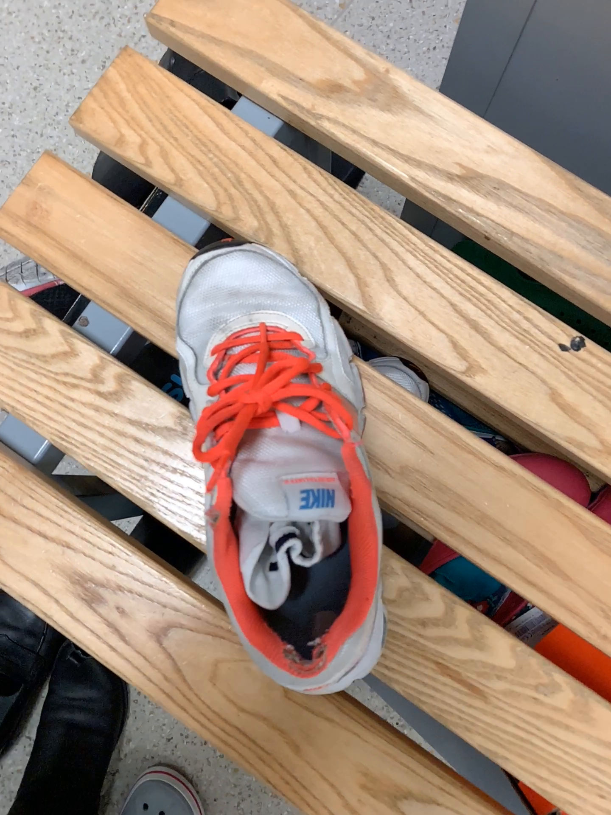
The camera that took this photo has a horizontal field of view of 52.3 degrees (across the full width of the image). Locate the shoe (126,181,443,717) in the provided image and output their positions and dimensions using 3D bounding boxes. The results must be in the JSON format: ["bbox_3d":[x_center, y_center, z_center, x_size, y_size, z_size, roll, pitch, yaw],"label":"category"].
[{"bbox_3d":[-0.013,0.018,0.339,0.110,0.079,0.241,-11,83,0],"label":"shoe"}]
